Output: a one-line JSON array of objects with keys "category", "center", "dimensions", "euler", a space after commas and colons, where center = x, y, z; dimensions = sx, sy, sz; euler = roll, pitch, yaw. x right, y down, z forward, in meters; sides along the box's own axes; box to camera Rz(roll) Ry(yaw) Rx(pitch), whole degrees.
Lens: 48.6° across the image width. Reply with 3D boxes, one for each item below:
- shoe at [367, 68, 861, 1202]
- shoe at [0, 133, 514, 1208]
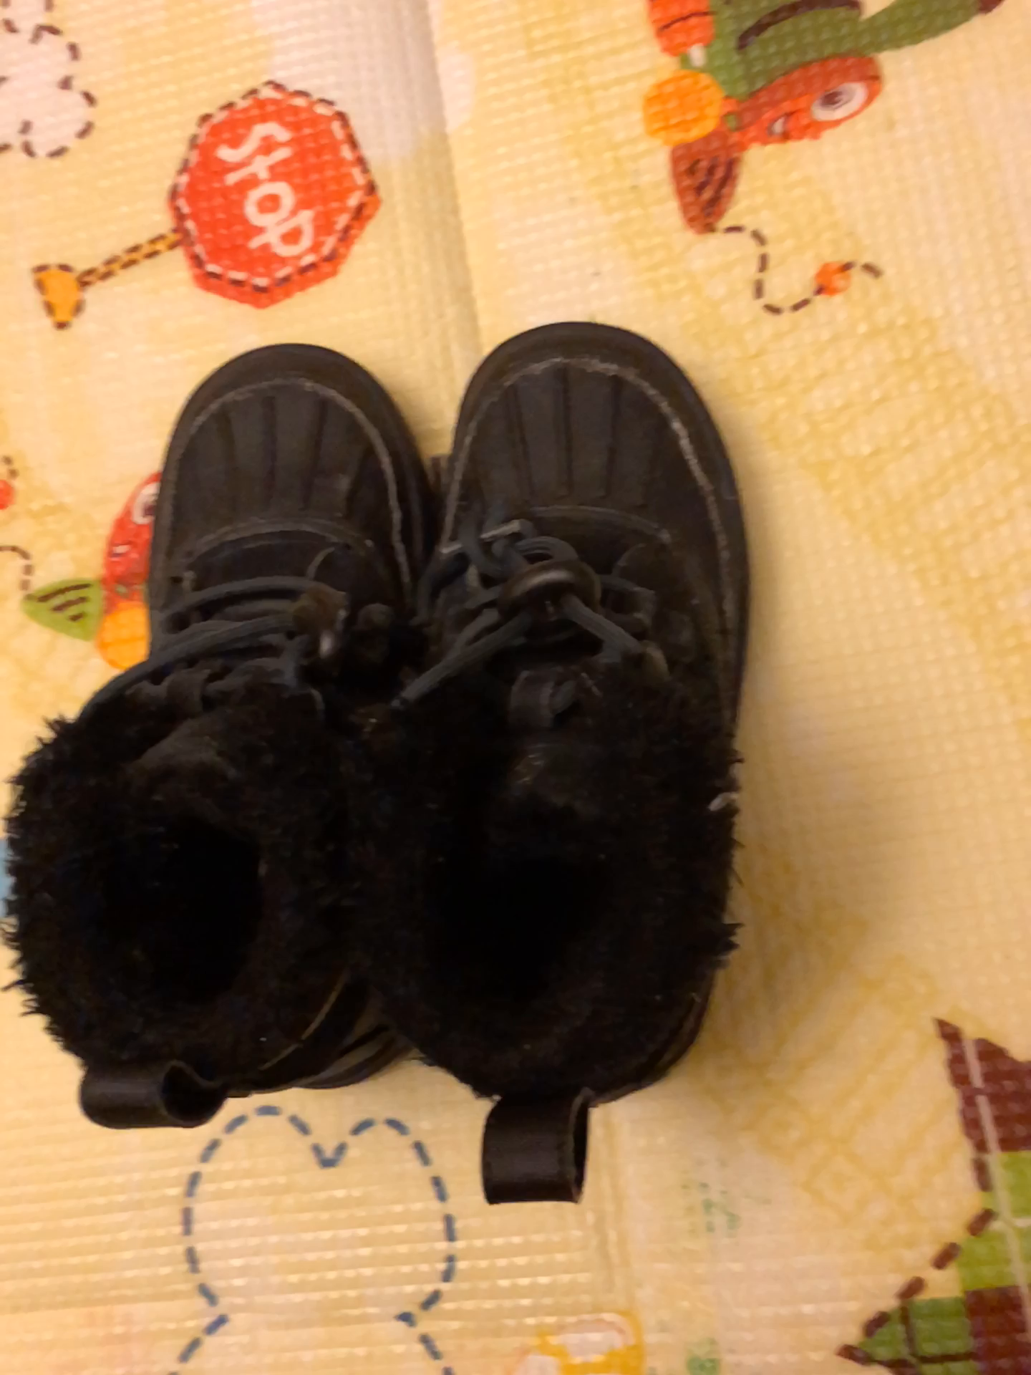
[{"category": "shoe", "center": [0.026, -0.009, 0.279], "dimensions": [0.090, 0.110, 0.220], "euler": [-1, 81, 10]}, {"category": "shoe", "center": [-0.061, 0.001, 0.286], "dimensions": [0.090, 0.120, 0.210], "euler": [-5, 80, 10]}]
